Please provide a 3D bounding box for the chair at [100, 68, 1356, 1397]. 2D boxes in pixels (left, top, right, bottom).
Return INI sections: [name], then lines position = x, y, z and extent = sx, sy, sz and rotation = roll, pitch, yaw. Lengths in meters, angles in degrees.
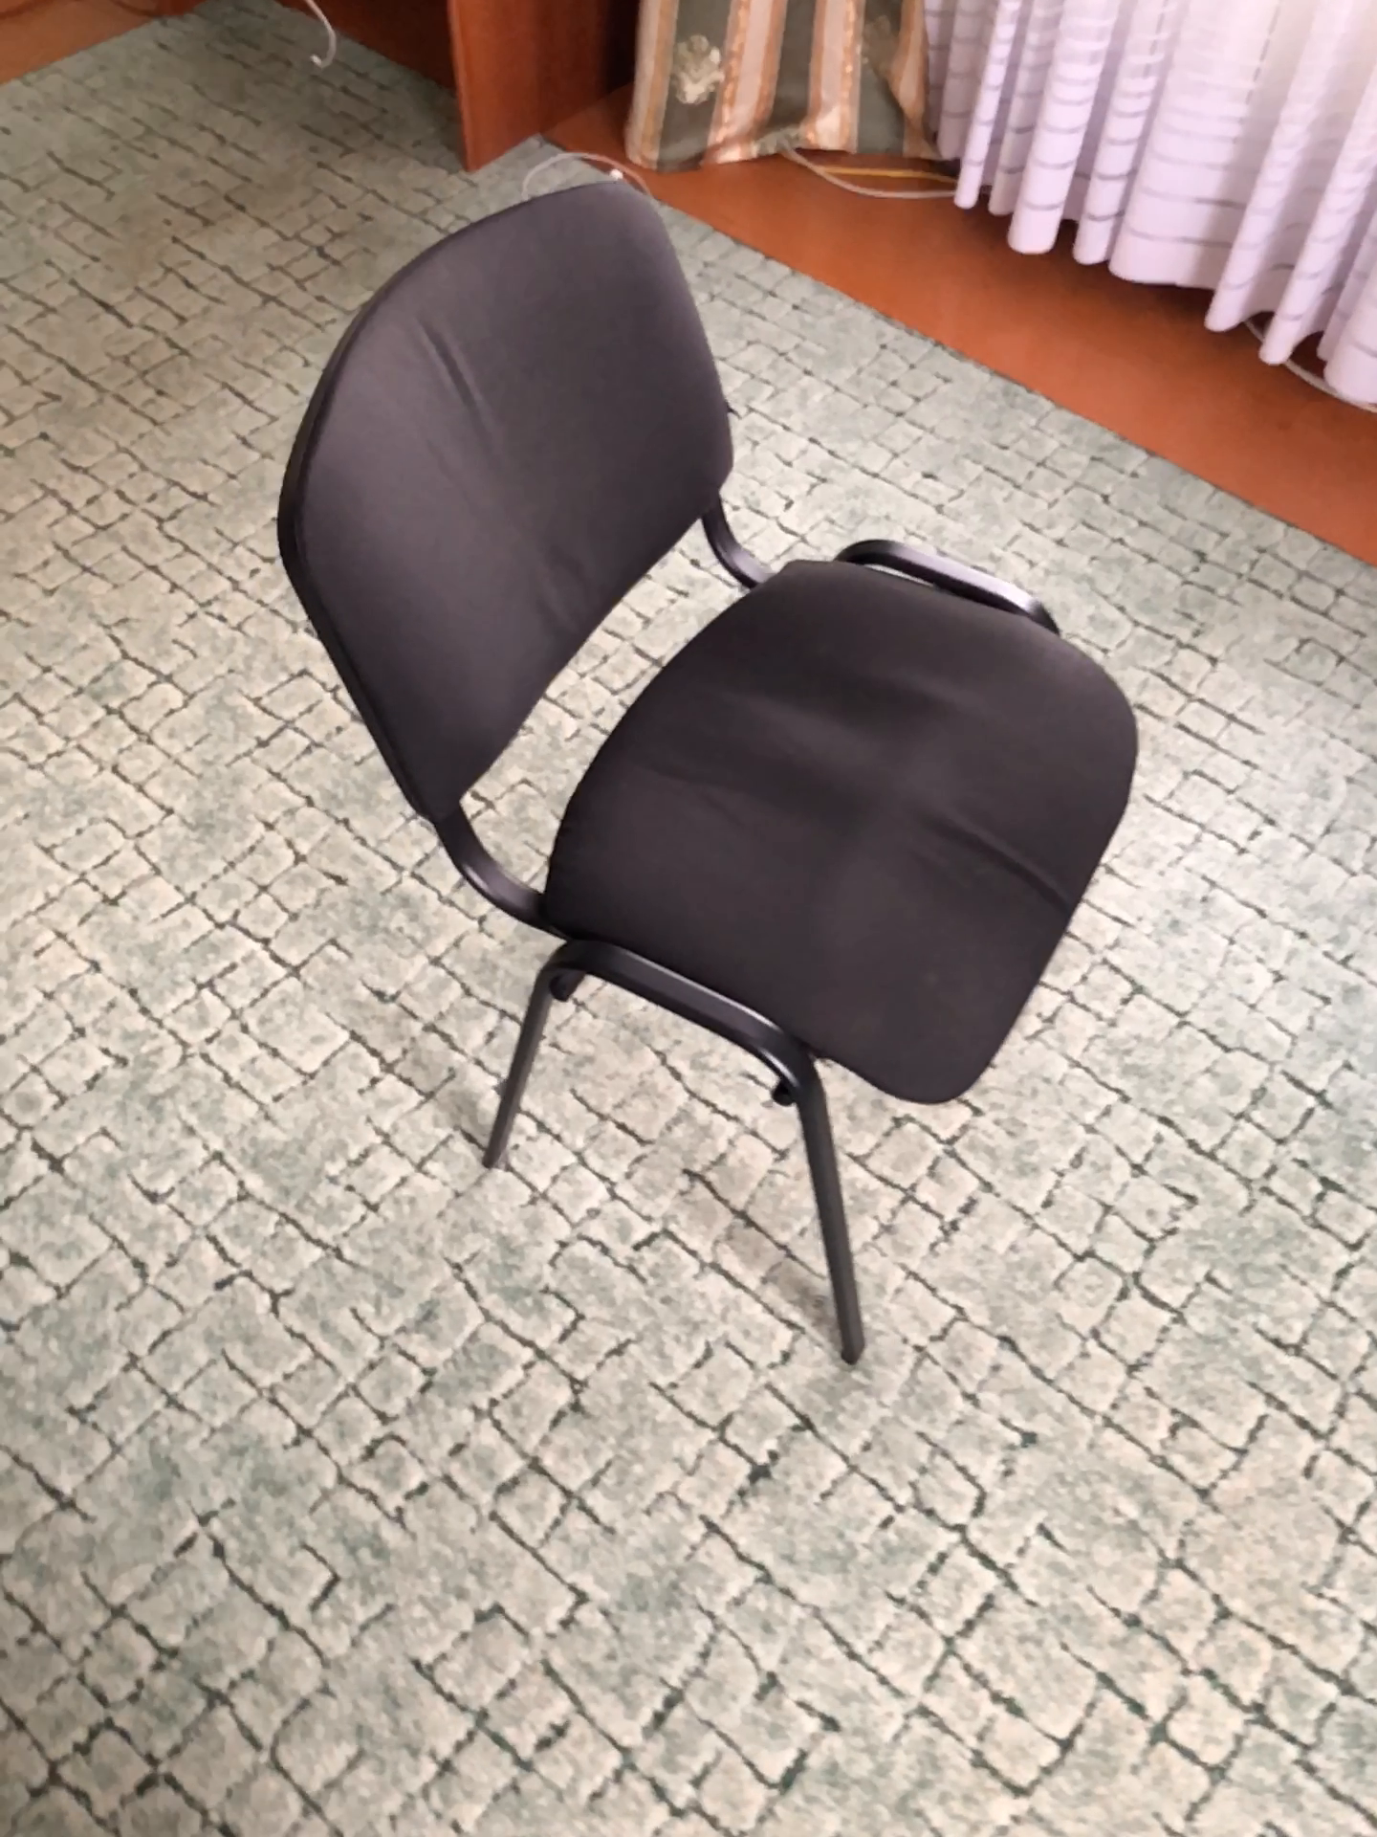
[chair]
position = 0.044, -0.114, 1.295
extent = 0.601, 0.785, 0.583
rotation = 25, 59, 14
